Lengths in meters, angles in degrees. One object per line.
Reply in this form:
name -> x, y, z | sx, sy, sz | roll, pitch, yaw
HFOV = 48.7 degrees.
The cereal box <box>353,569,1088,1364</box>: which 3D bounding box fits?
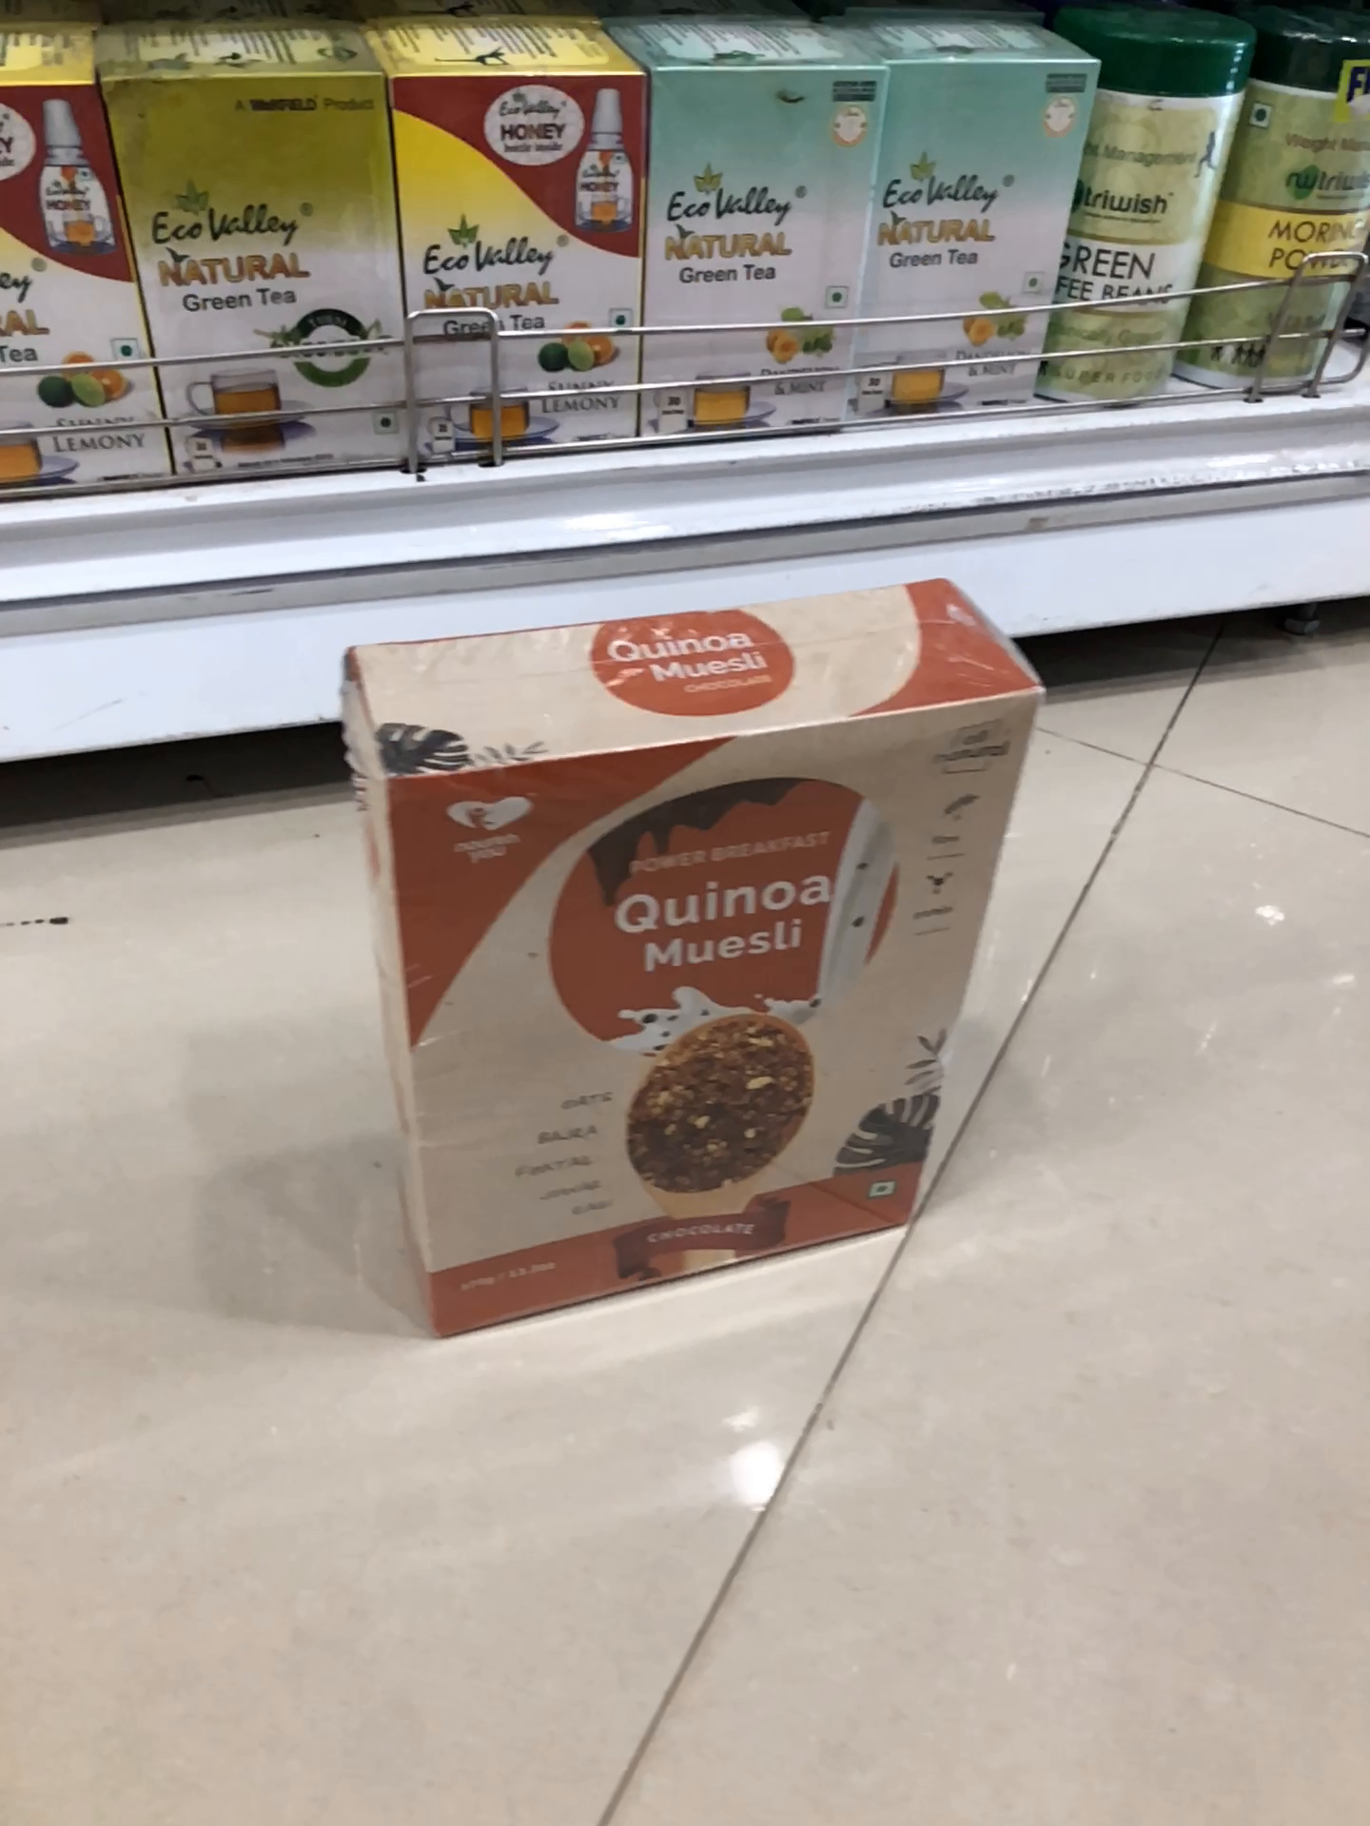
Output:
cereal box -> 0.001, 0.023, 0.416 | 0.160, 0.218, 0.050 | -10, 44, -17
